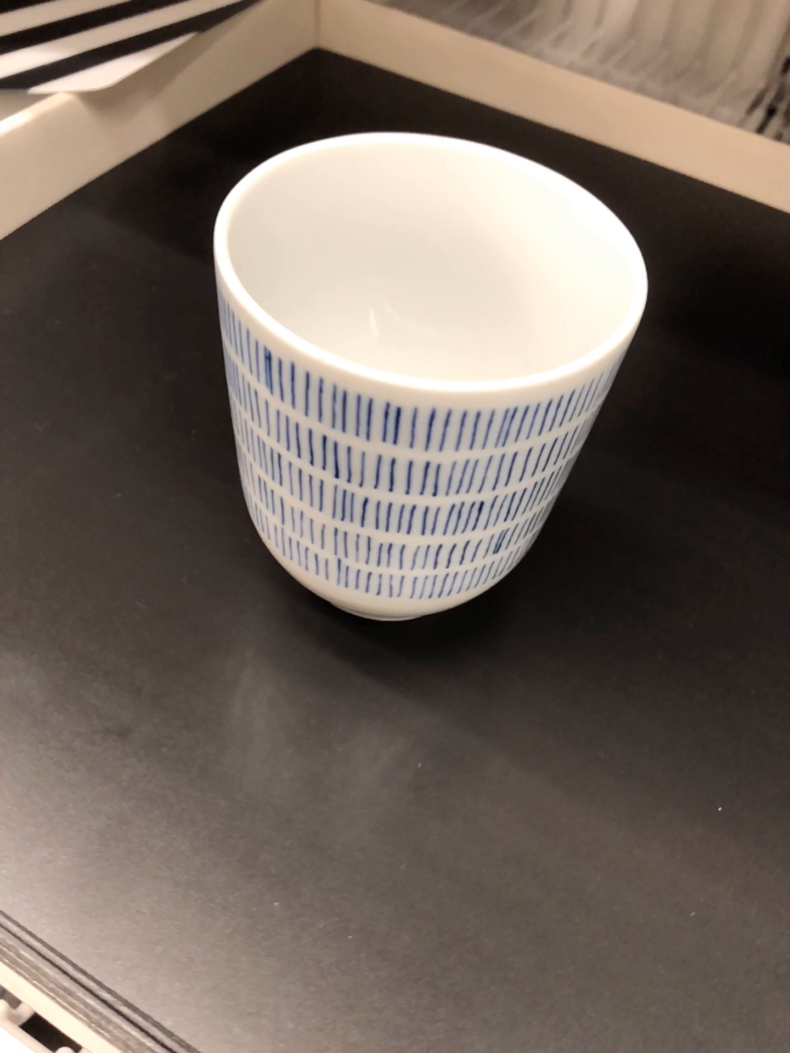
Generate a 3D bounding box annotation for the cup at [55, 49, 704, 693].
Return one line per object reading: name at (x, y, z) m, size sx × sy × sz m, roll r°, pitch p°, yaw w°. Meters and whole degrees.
cup at (-0.002, -0.031, 0.169) m, size 0.080 × 0.070 × 0.070 m, roll 26°, pitch 51°, yaw 14°
